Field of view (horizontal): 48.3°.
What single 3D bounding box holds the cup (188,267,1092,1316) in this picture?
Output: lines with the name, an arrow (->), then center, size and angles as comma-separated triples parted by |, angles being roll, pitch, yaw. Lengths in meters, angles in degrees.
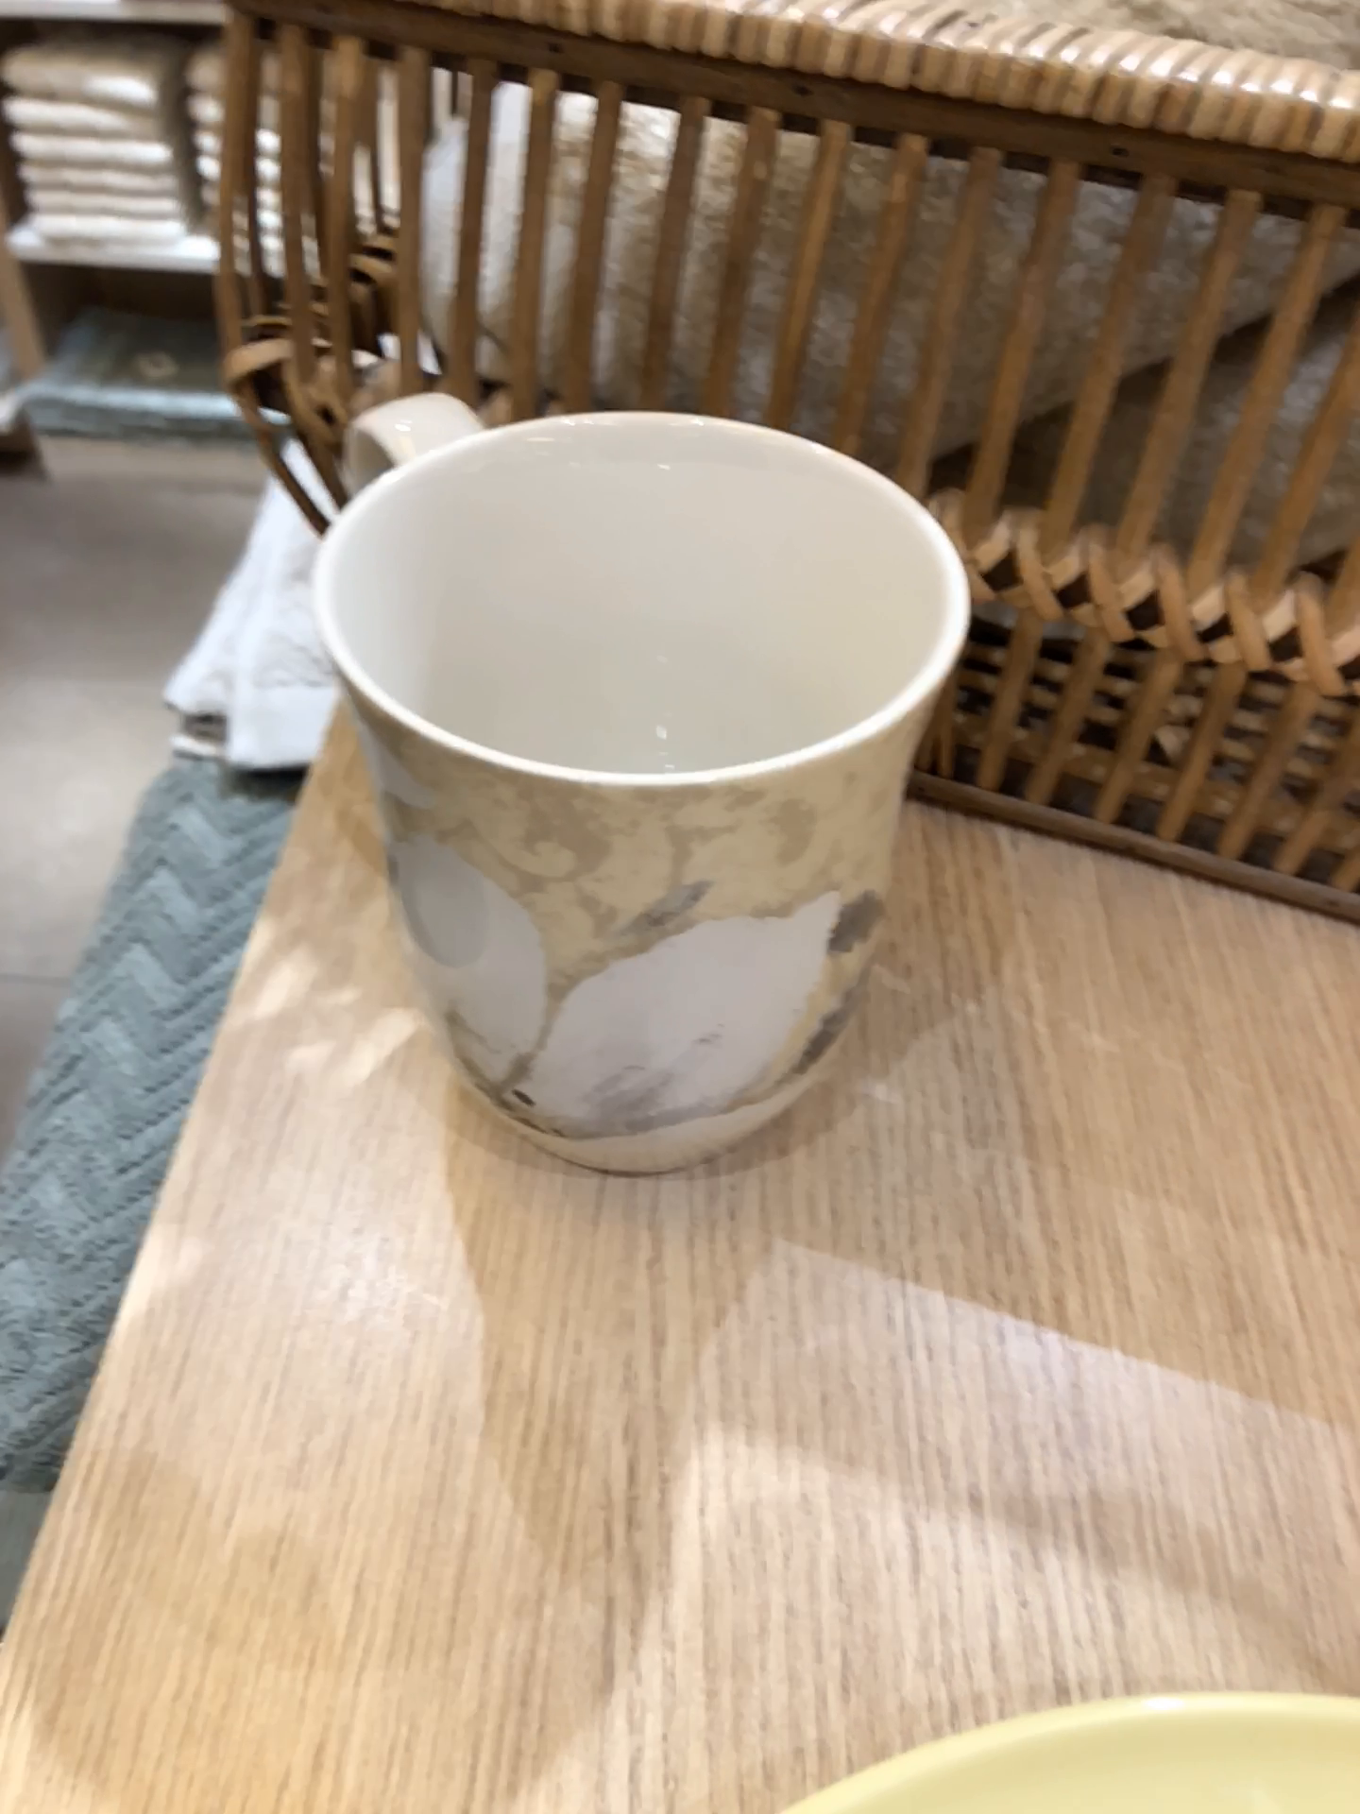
cup -> -0.016, -0.026, 0.255 | 0.090, 0.099, 0.131 | -15, 48, -17
